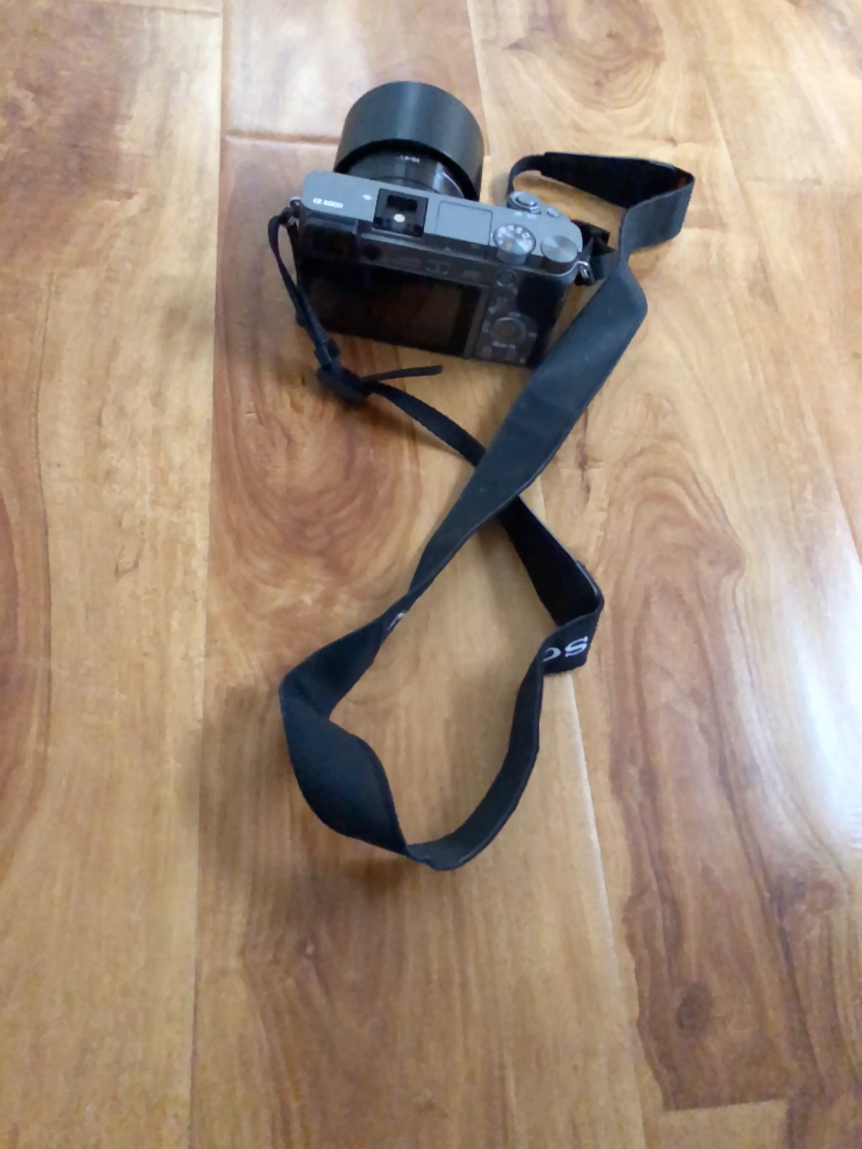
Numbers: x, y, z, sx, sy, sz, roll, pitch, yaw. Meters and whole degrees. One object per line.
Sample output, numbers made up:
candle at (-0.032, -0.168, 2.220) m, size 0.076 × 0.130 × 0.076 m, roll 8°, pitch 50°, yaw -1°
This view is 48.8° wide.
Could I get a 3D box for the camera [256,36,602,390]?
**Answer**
camera at (-0.001, -0.166, 0.443) m, size 0.140 × 0.080 × 0.110 m, roll 9°, pitch 60°, yaw -5°
